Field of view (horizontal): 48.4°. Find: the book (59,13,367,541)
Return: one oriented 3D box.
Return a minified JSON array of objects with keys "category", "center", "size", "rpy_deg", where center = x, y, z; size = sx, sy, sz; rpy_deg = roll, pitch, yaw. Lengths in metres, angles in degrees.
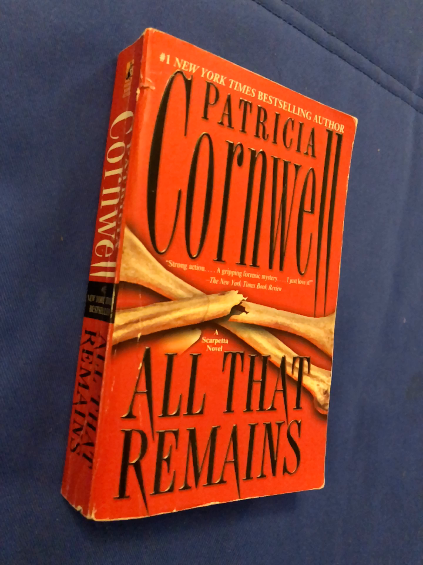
[{"category":"book","center":[0.007,0.002,0.191],"size":[0.110,0.030,0.166],"rpy_deg":[8,88,-34]}]
